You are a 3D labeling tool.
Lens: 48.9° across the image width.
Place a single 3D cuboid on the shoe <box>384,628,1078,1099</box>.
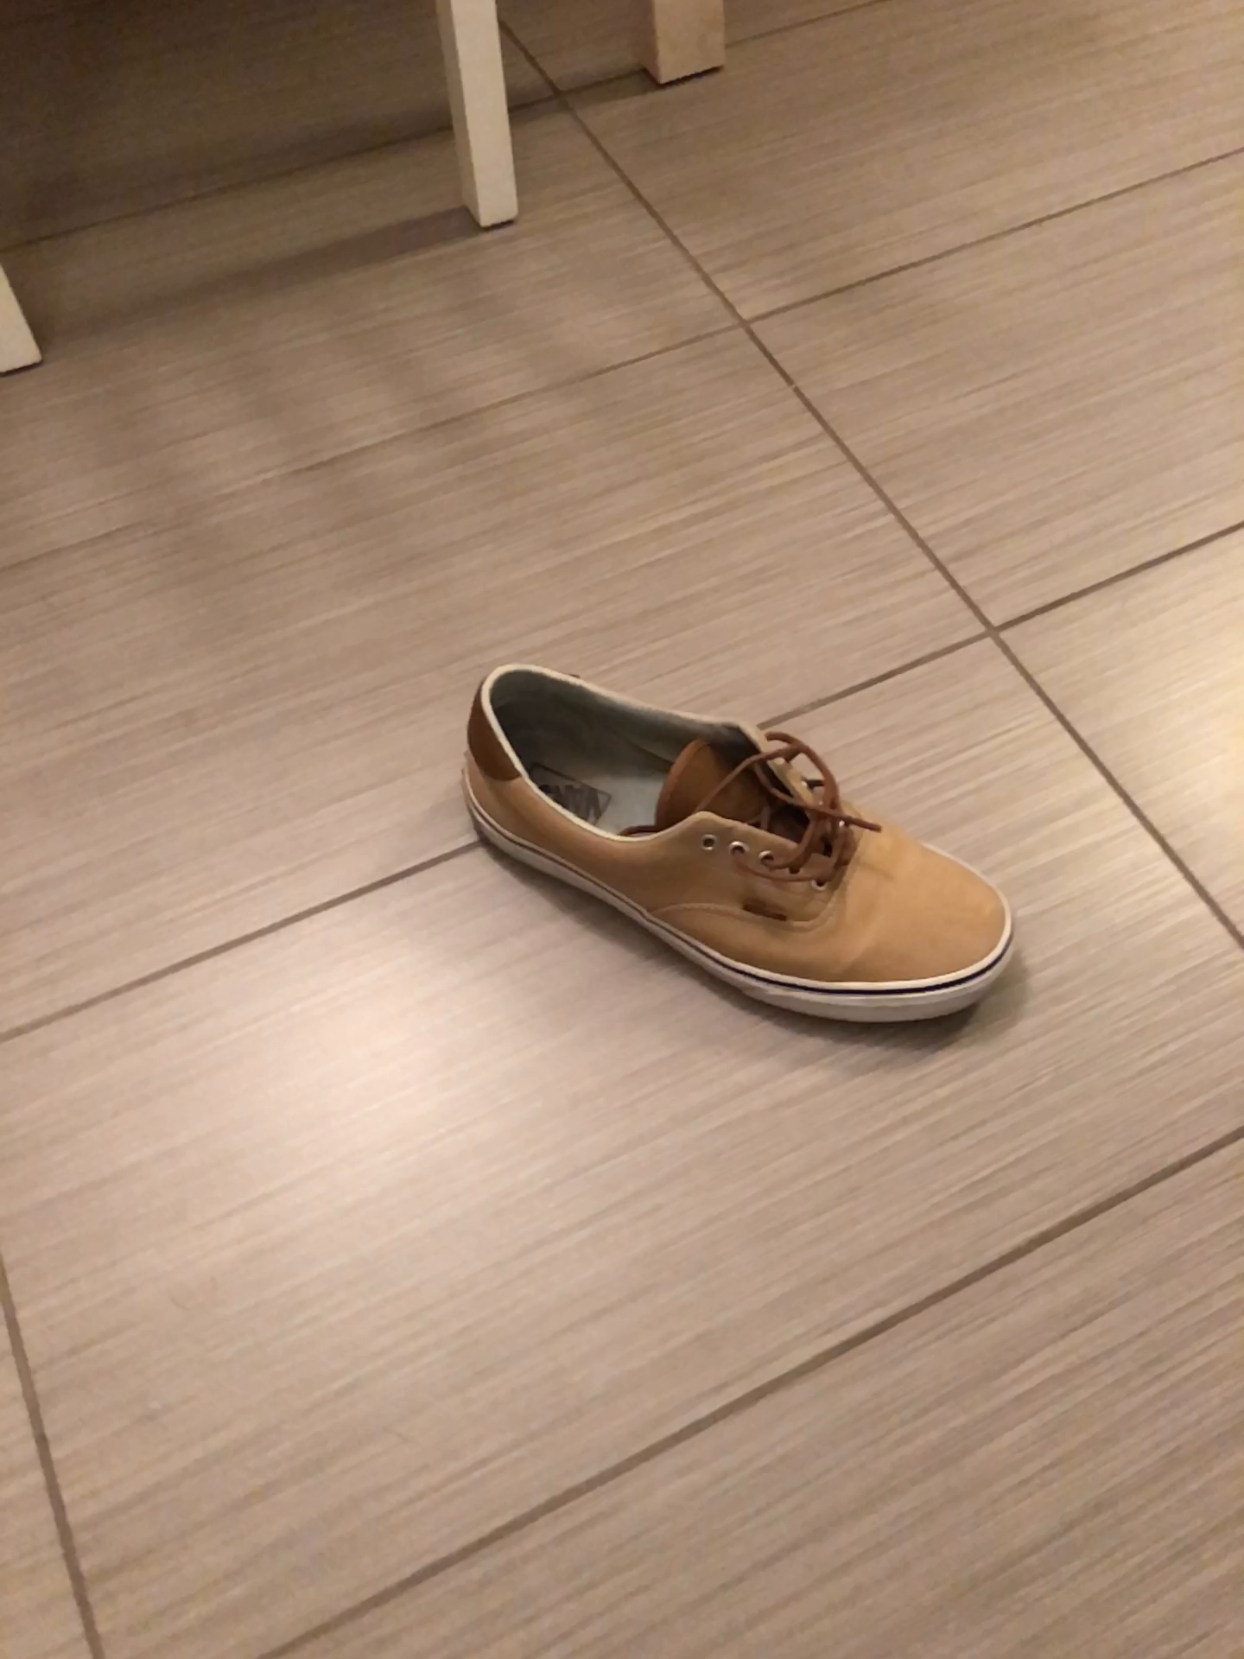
[{"bbox_3d":[0.050,0.011,0.678,0.310,0.070,0.110,21,61,14],"label":"shoe"}]
